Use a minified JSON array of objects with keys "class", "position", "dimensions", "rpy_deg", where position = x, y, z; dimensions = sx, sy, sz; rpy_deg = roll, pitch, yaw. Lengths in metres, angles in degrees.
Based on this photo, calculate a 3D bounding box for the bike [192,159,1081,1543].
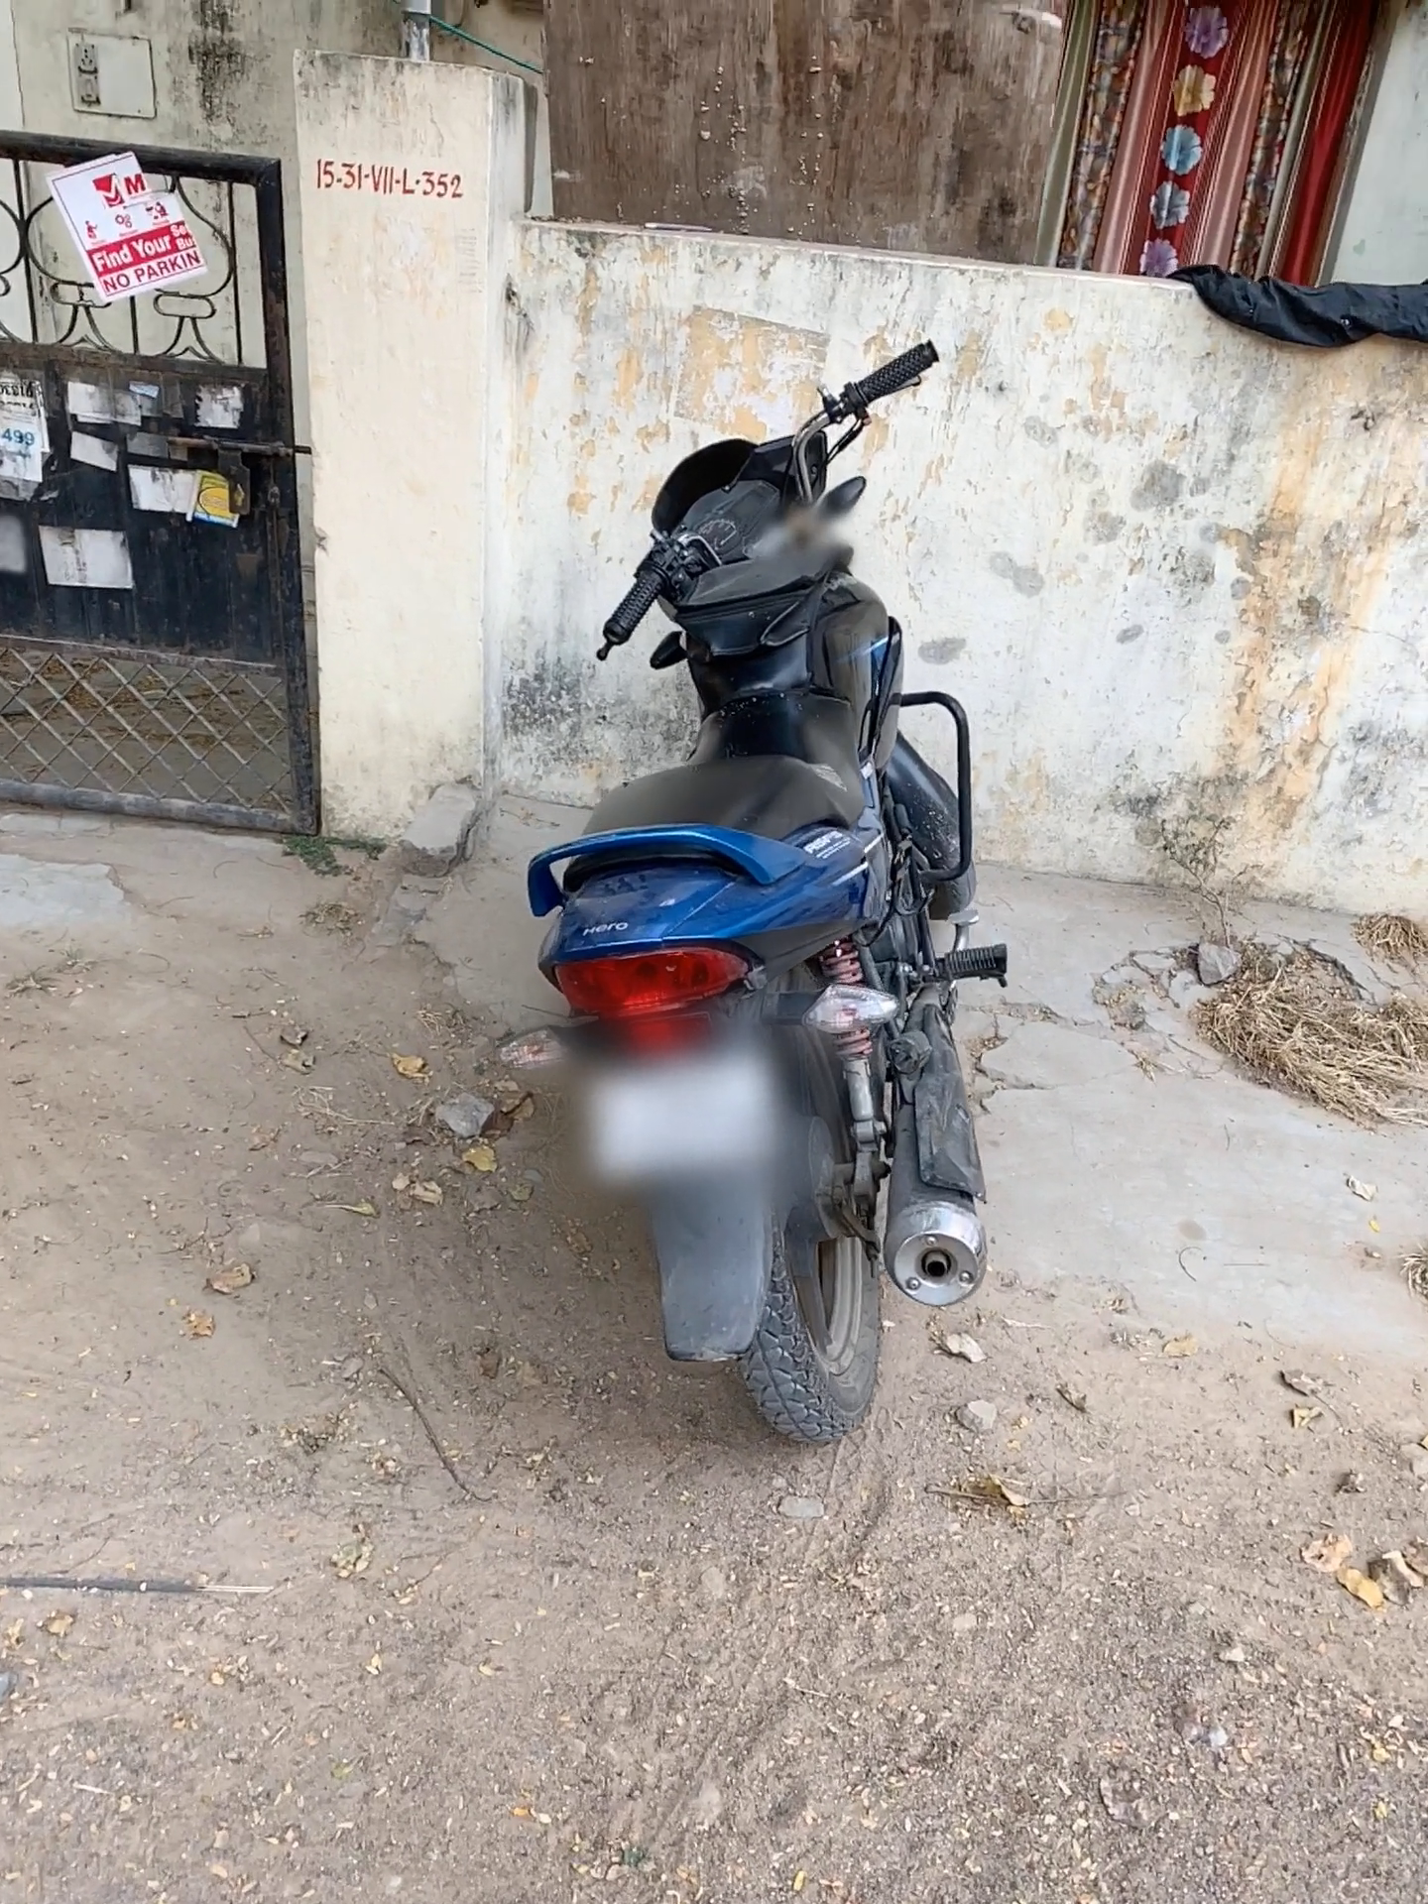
[{"class":"bike","position":[-0.134,-0.374,2.209],"dimensions":[0.754,1.233,1.713],"rpy_deg":[5,32,-2]}]
